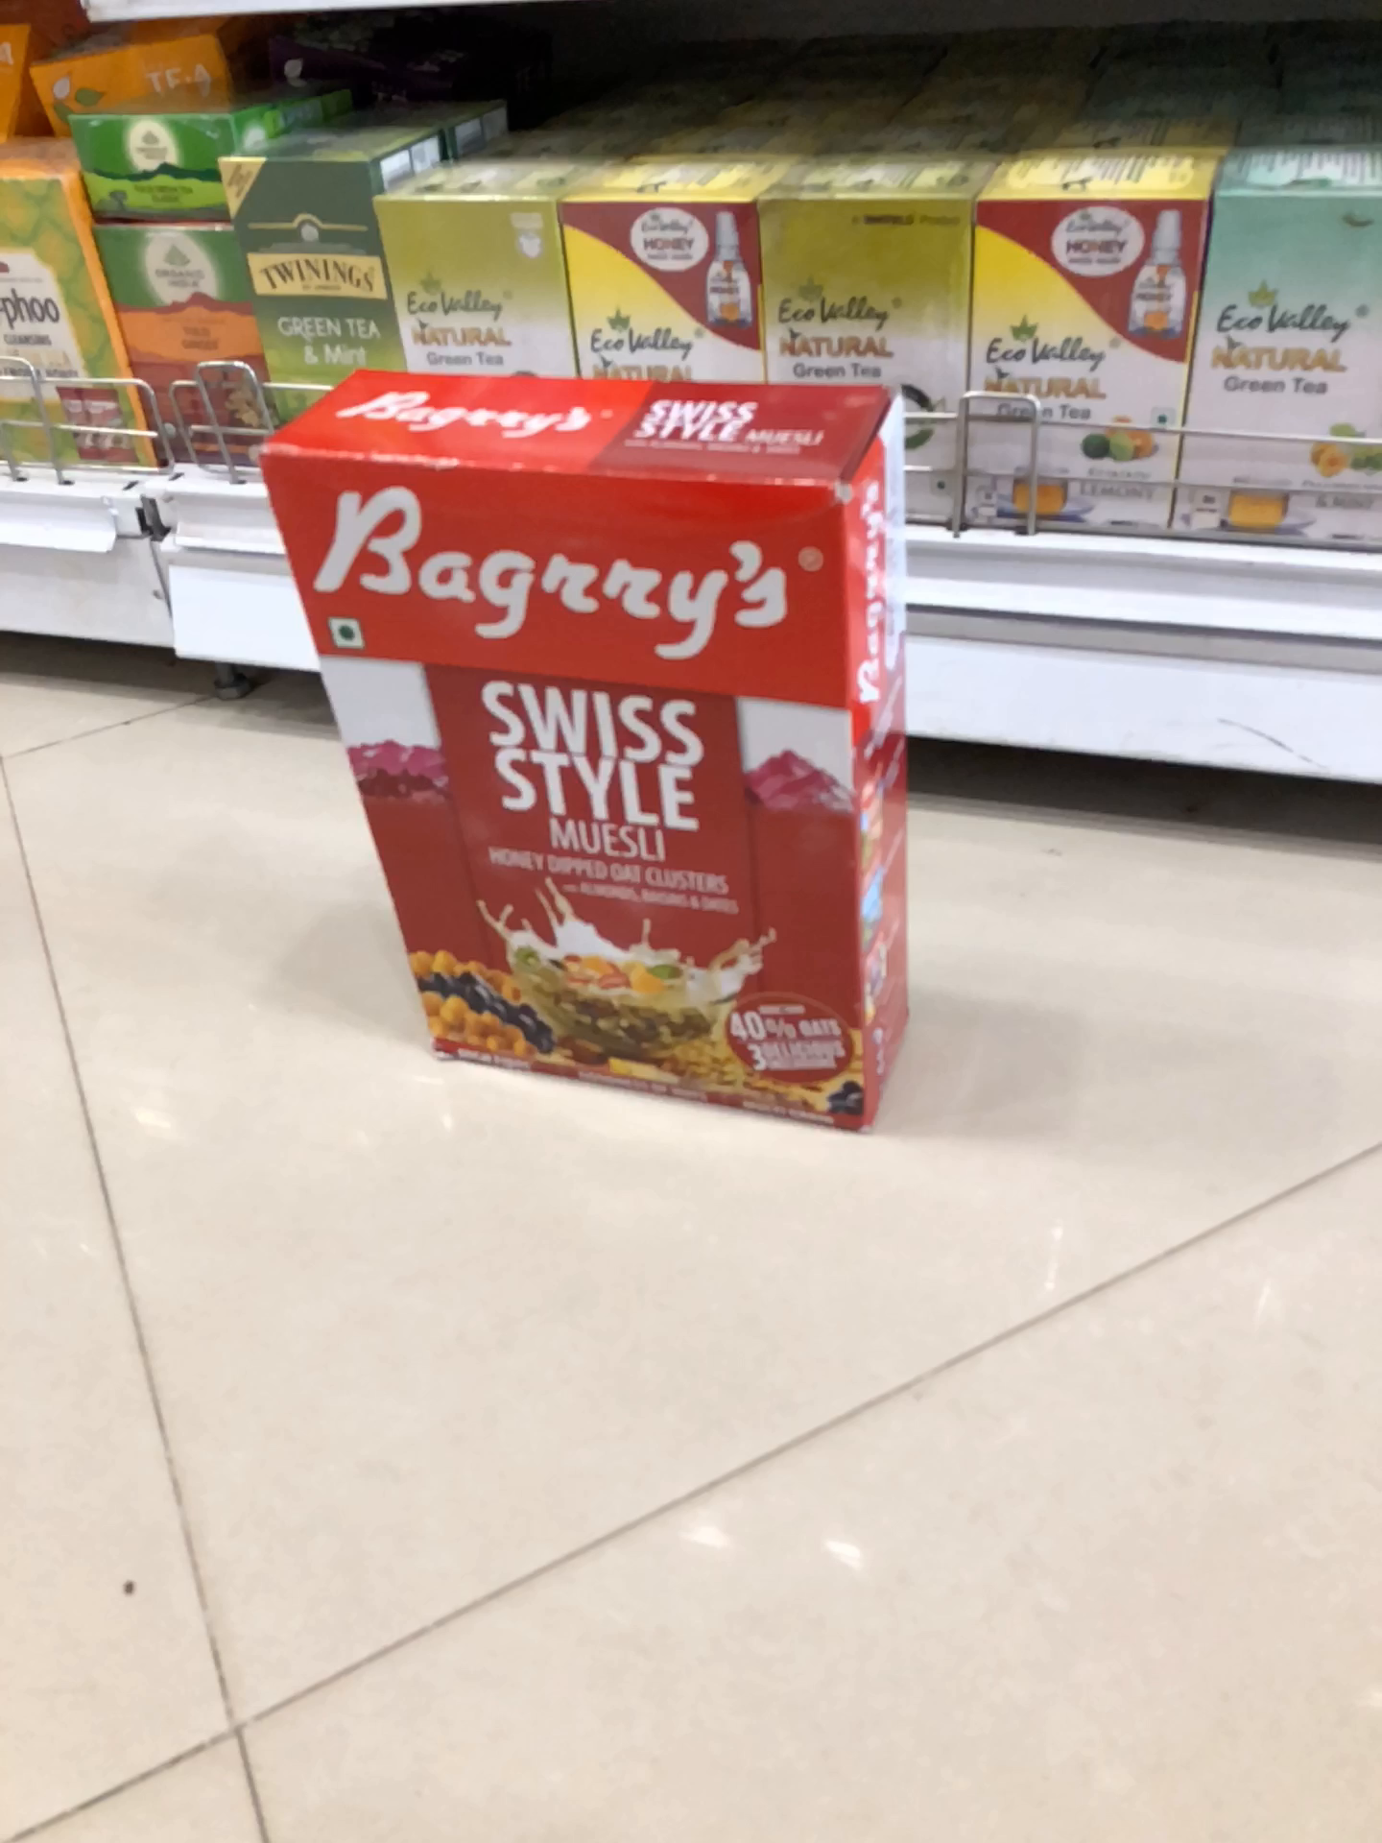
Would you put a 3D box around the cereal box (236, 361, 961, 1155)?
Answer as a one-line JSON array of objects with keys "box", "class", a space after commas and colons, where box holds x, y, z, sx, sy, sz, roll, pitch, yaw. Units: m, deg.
[{"box": [-0.016, -0.052, 0.520, 0.200, 0.248, 0.081, 8, 41, 18], "class": "cereal box"}]
